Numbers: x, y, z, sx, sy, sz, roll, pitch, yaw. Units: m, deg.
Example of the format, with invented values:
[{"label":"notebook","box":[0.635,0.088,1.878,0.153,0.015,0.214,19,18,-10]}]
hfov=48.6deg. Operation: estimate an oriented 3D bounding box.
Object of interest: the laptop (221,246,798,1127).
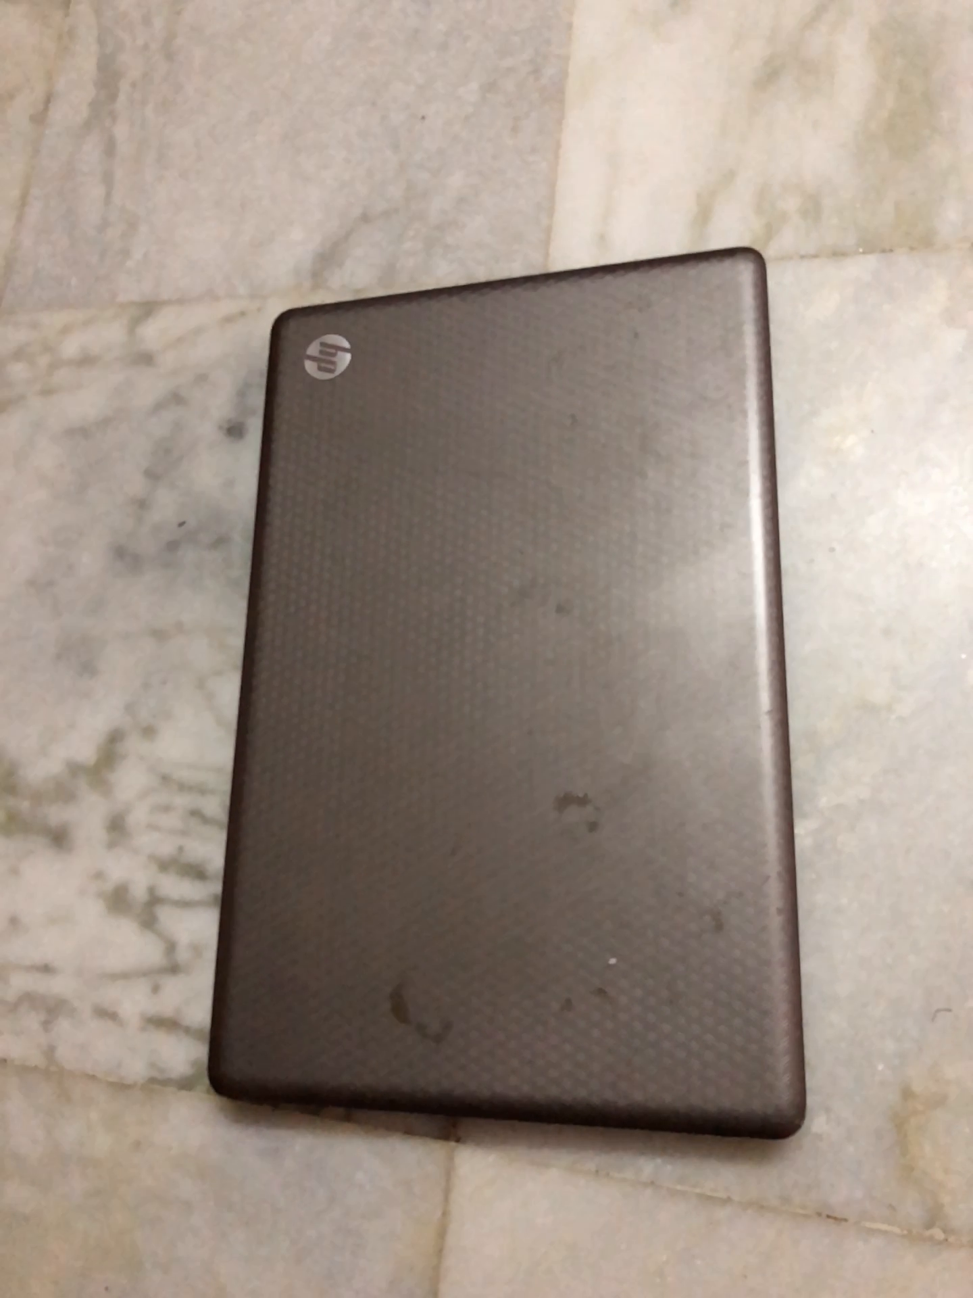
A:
[{"label":"laptop","box":[0.006,0.002,0.506,0.252,0.003,0.394,-3,75,15]}]
